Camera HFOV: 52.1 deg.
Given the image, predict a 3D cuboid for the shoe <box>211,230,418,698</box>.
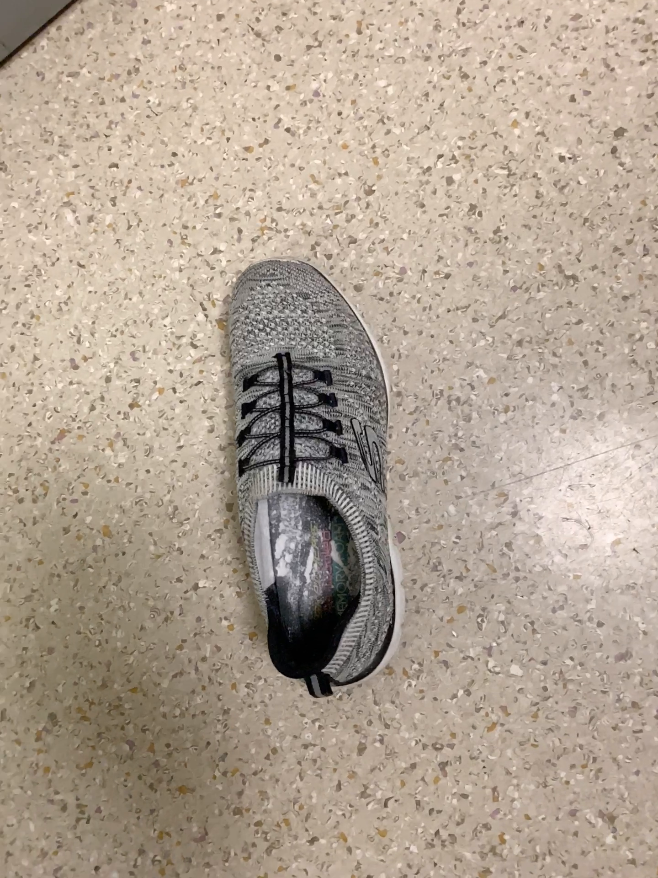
[{"bbox_3d":[-0.005,0.015,0.402,0.094,0.093,0.241,-5,83,6],"label":"shoe"}]
